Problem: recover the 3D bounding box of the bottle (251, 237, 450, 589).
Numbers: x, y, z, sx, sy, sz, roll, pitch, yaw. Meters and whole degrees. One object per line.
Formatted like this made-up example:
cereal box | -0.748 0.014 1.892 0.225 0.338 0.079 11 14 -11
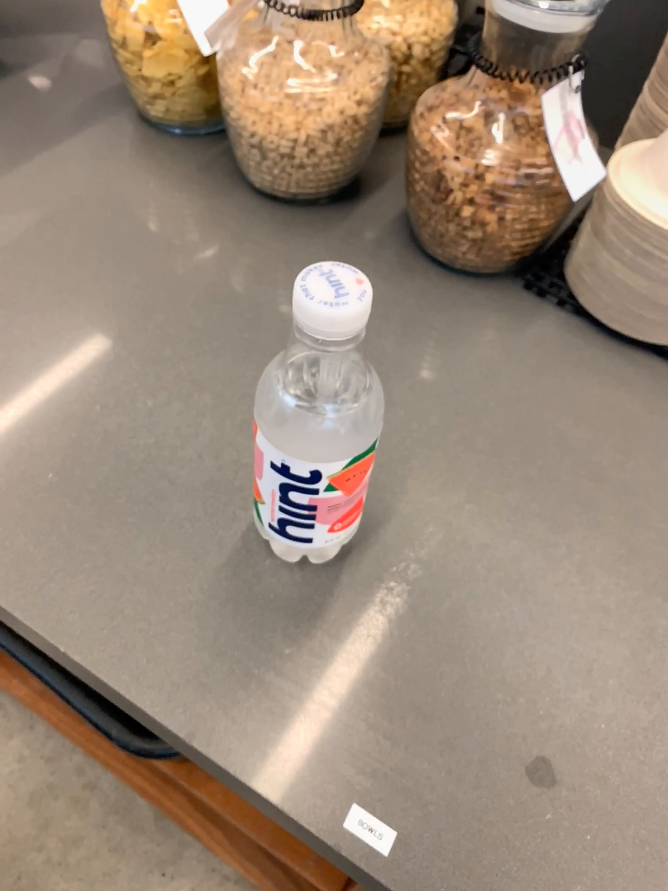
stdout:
bottle | -0.004 -0.004 0.371 0.070 0.199 0.070 3 53 -4
